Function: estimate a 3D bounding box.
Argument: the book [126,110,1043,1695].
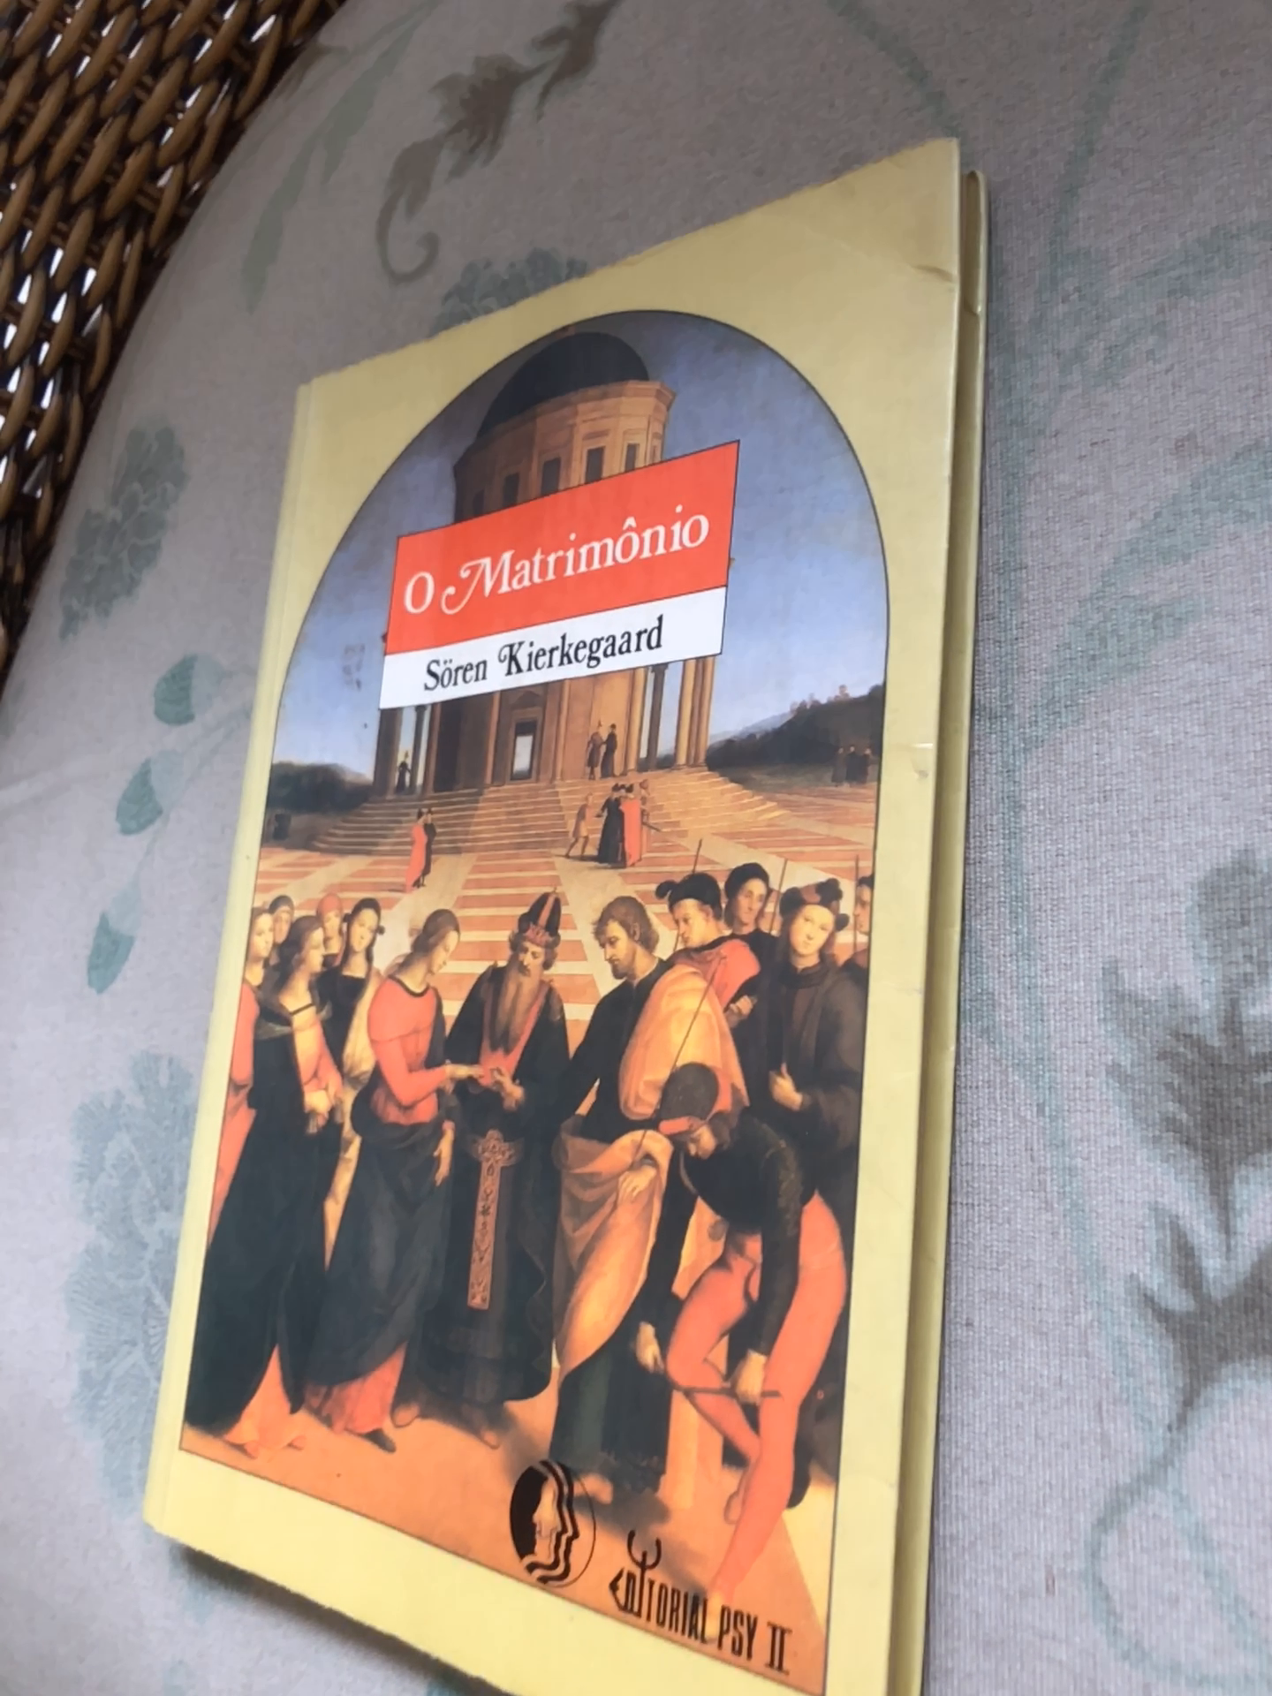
[{"bbox_3d":[-0.015,0.012,0.212,0.141,0.020,0.200,-2,79,39],"label":"book"}]
